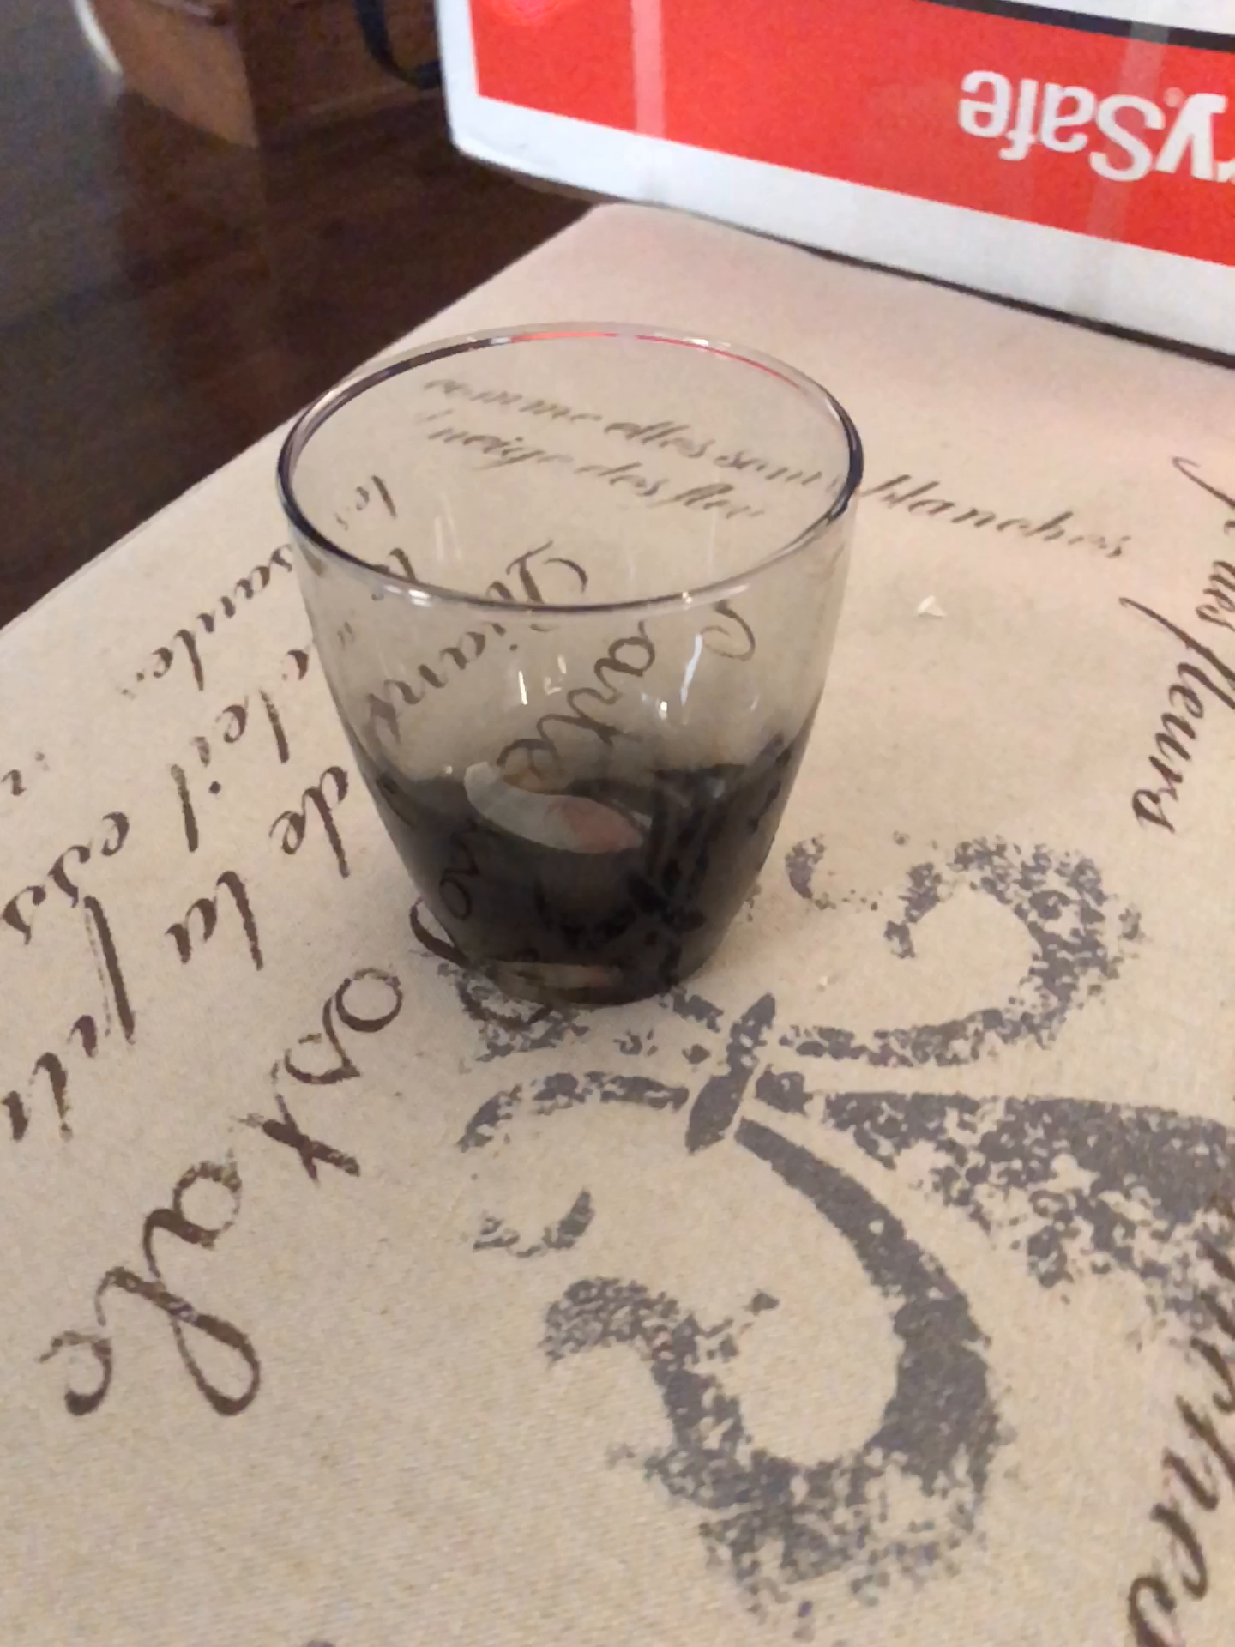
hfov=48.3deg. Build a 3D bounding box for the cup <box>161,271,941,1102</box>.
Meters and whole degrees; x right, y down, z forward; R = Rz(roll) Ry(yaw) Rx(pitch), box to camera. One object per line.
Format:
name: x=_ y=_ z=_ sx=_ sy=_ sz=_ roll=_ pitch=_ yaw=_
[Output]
cup: x=-0.005 y=-0.027 z=0.239 sx=0.088 sy=0.092 sz=0.088 roll=0 pitch=43 yaw=0
